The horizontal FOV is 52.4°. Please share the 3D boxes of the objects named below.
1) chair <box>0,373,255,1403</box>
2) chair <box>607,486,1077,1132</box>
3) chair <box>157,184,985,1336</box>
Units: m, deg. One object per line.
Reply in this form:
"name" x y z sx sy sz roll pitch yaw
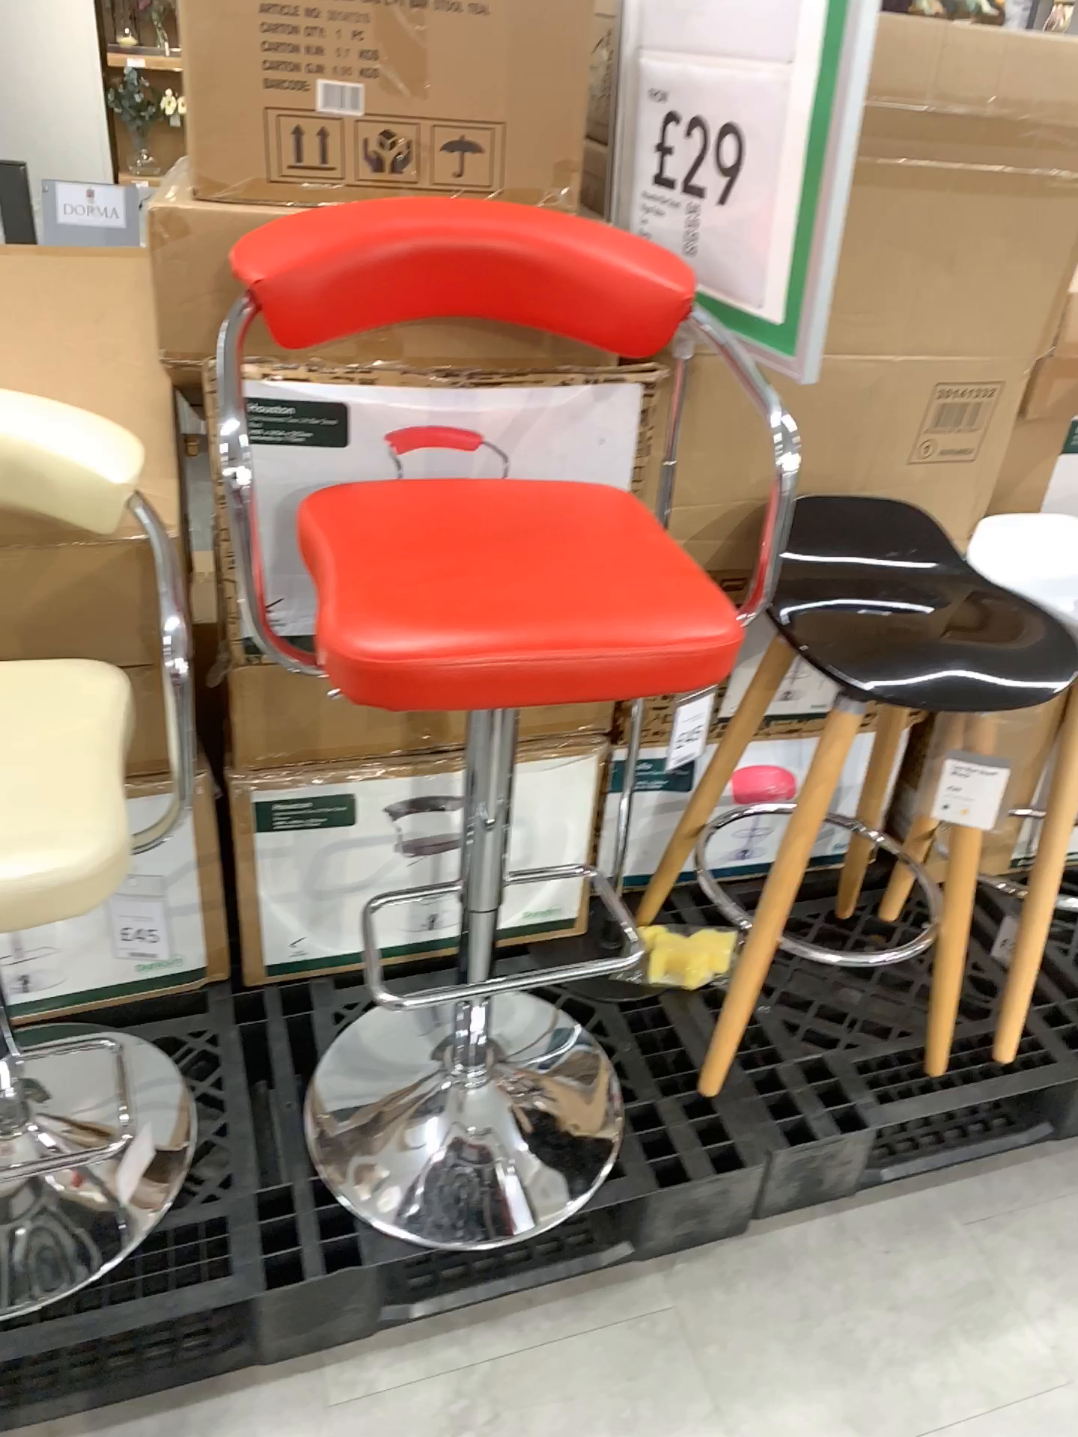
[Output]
"chair" -0.584 0.145 1.088 0.496 0.838 0.462 -6 32 -18
"chair" 0.394 0.108 1.449 0.426 0.709 0.392 -5 32 -17
"chair" -0.061 0.030 1.135 0.526 0.977 0.533 -6 32 -18
